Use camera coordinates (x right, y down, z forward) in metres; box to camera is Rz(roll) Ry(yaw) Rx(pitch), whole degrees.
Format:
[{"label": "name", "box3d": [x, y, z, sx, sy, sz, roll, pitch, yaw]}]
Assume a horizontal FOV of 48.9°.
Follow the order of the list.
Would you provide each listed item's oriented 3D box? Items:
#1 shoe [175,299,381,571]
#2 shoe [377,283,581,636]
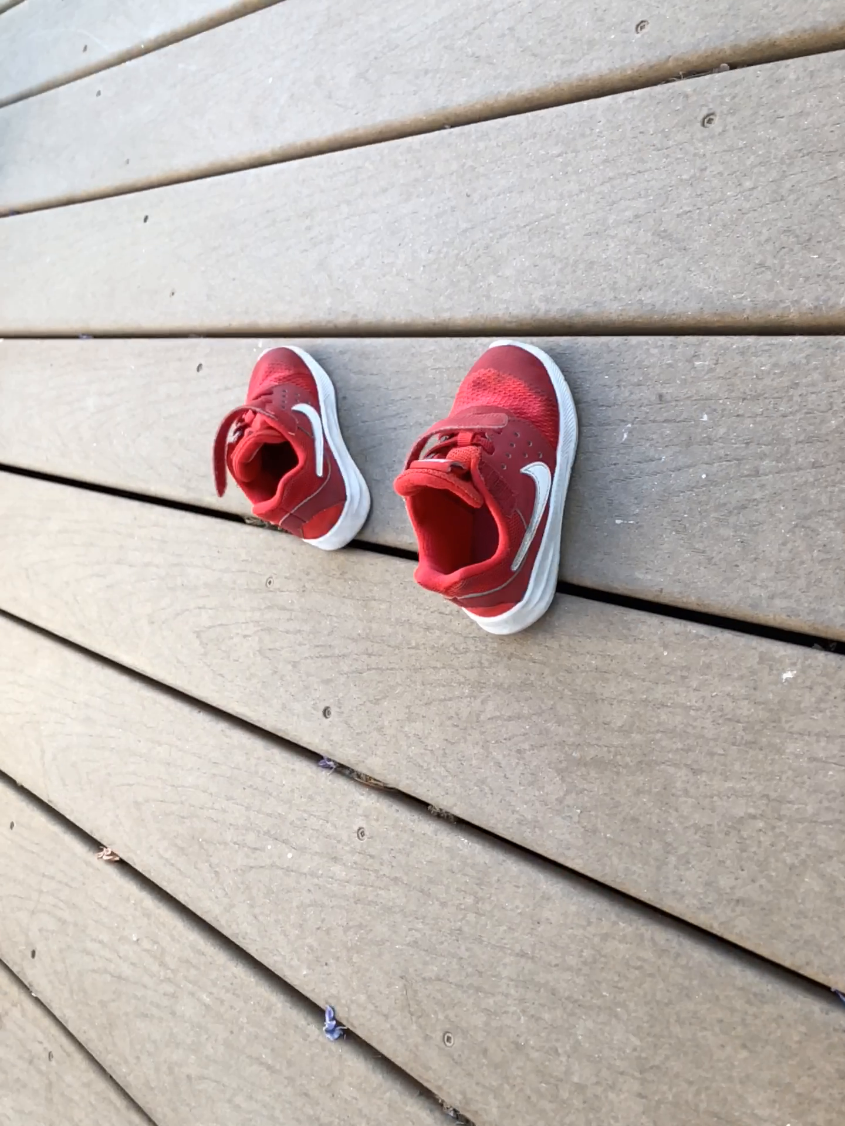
[{"label": "shoe", "box3d": [-0.098, -0.083, 0.613, 0.073, 0.069, 0.153, -38, 58, 28]}, {"label": "shoe", "box3d": [0.032, -0.048, 0.488, 0.070, 0.069, 0.164, -5, 77, 40]}]
